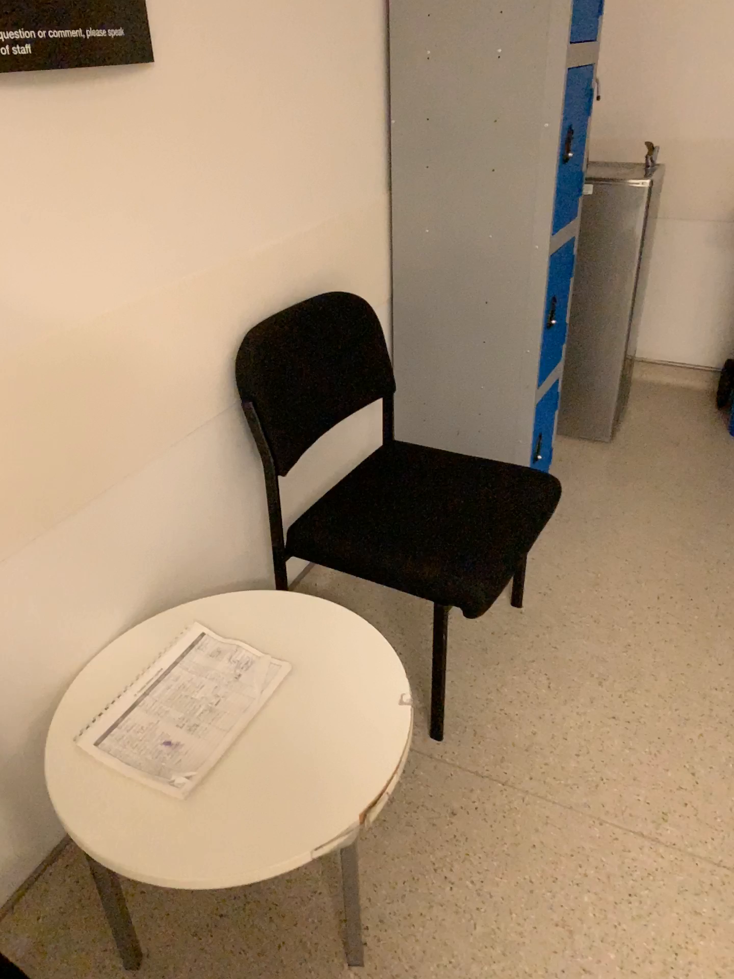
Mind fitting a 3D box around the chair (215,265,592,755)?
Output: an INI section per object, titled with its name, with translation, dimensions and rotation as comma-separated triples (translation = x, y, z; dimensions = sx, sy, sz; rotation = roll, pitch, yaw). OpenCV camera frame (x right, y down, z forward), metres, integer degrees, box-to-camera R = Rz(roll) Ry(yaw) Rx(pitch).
[chair]
translation = 0.103, 0.007, 1.685
dimensions = 0.551, 0.824, 0.553
rotation = 15, 34, 27
